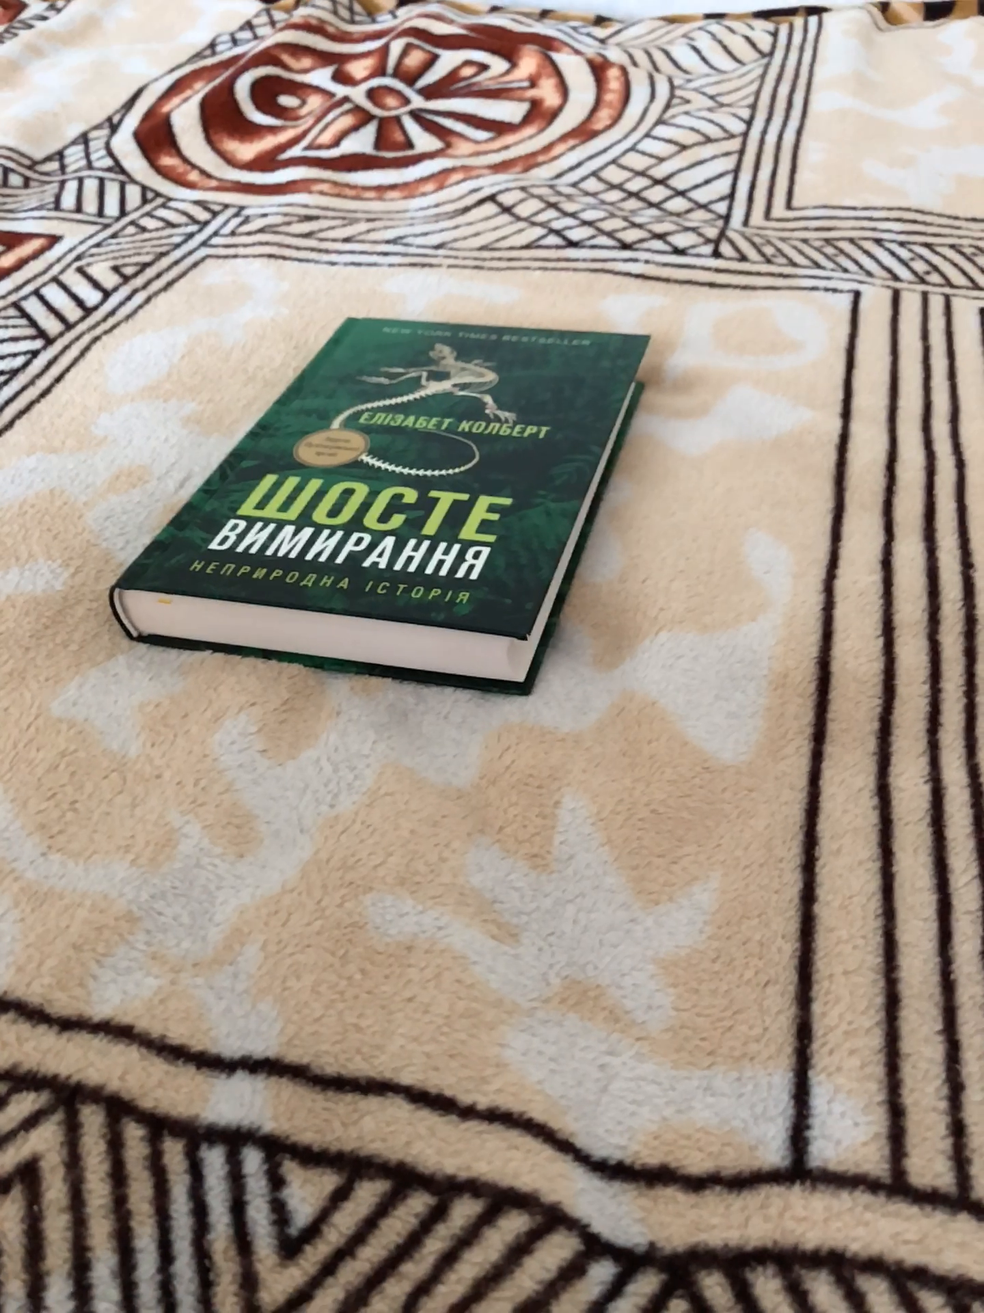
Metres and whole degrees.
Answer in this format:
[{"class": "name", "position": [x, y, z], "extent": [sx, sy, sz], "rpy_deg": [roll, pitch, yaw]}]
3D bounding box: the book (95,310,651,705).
[{"class": "book", "position": [-0.030, -0.076, 0.435], "extent": [0.150, 0.030, 0.221], "rpy_deg": [8, 42, 15]}]
